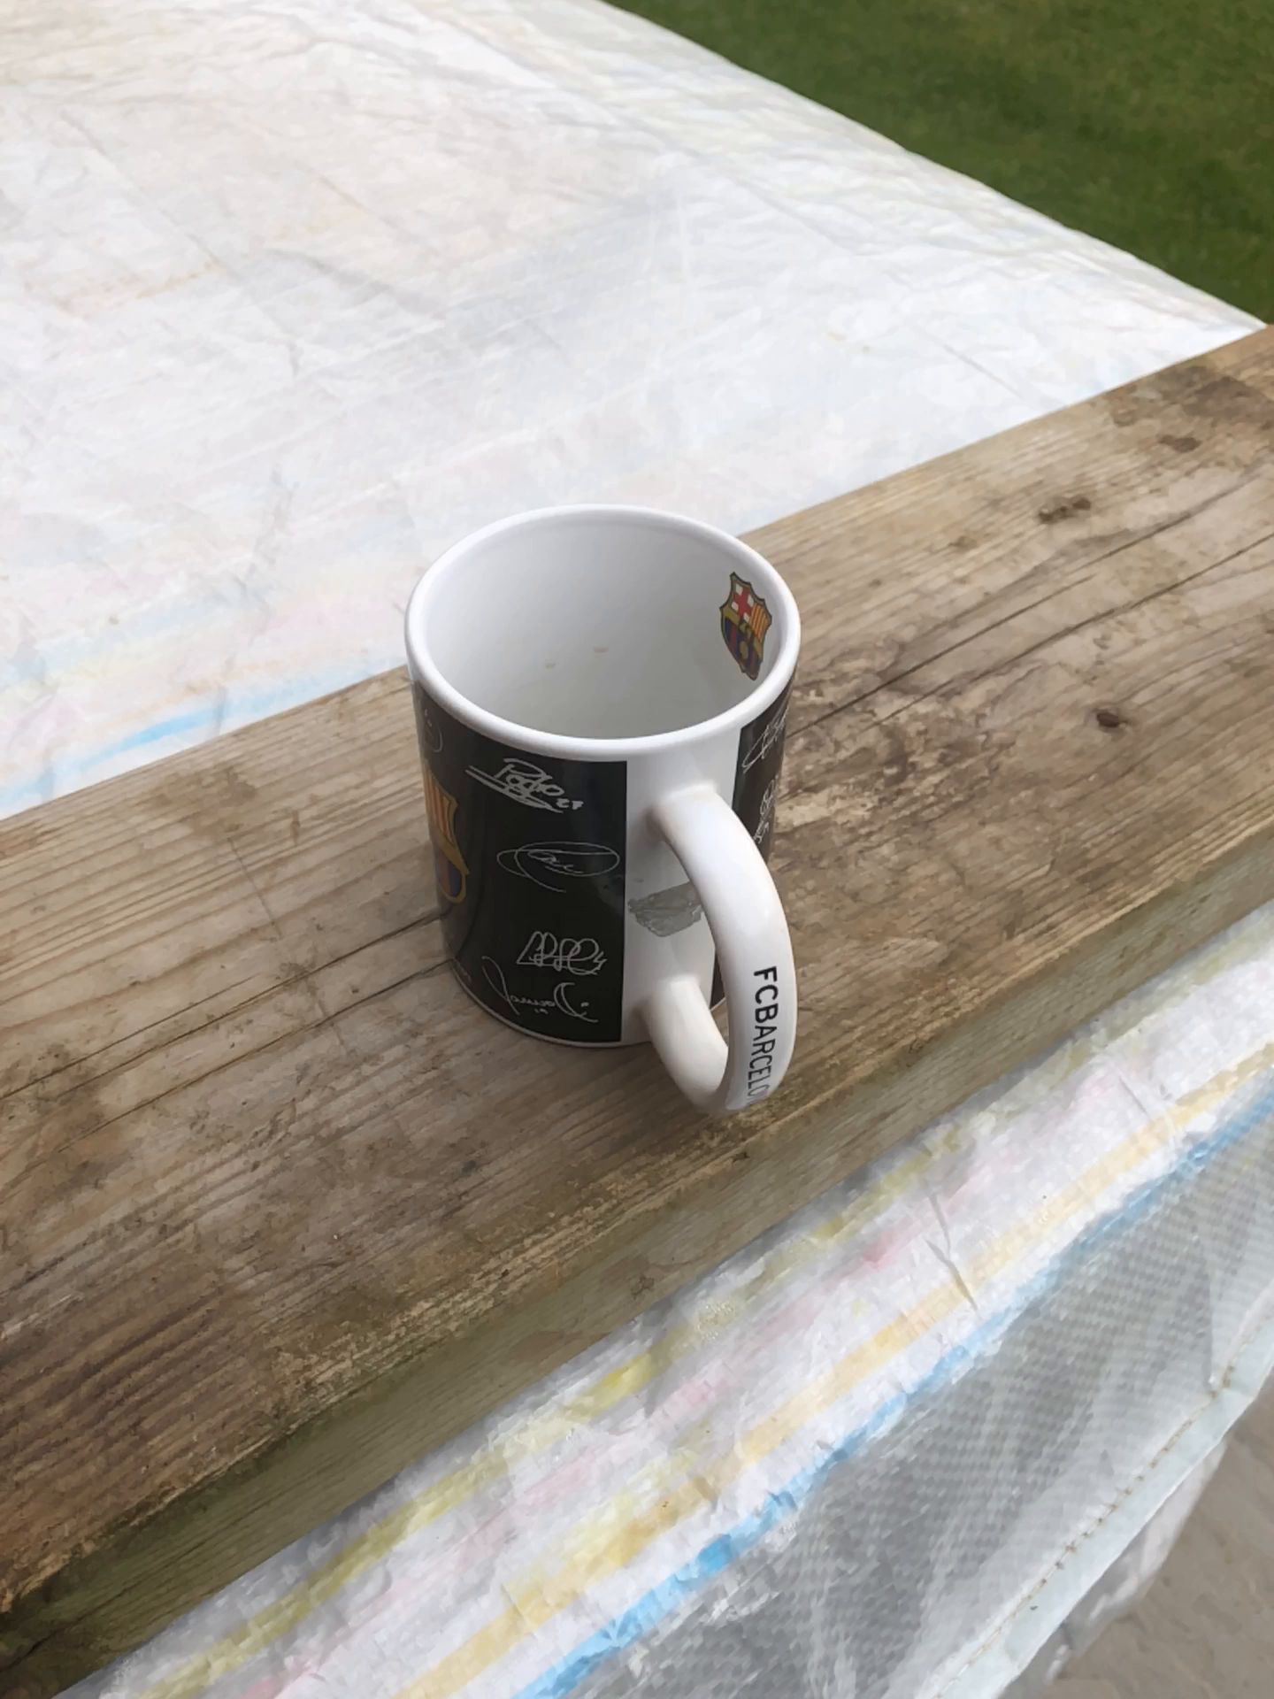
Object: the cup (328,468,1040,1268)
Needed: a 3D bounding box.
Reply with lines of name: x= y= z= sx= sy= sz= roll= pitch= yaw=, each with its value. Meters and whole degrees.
cup: x=0.000 y=-0.003 z=0.307 sx=0.090 sy=0.089 sz=0.131 roll=-17 pitch=49 yaw=-20
